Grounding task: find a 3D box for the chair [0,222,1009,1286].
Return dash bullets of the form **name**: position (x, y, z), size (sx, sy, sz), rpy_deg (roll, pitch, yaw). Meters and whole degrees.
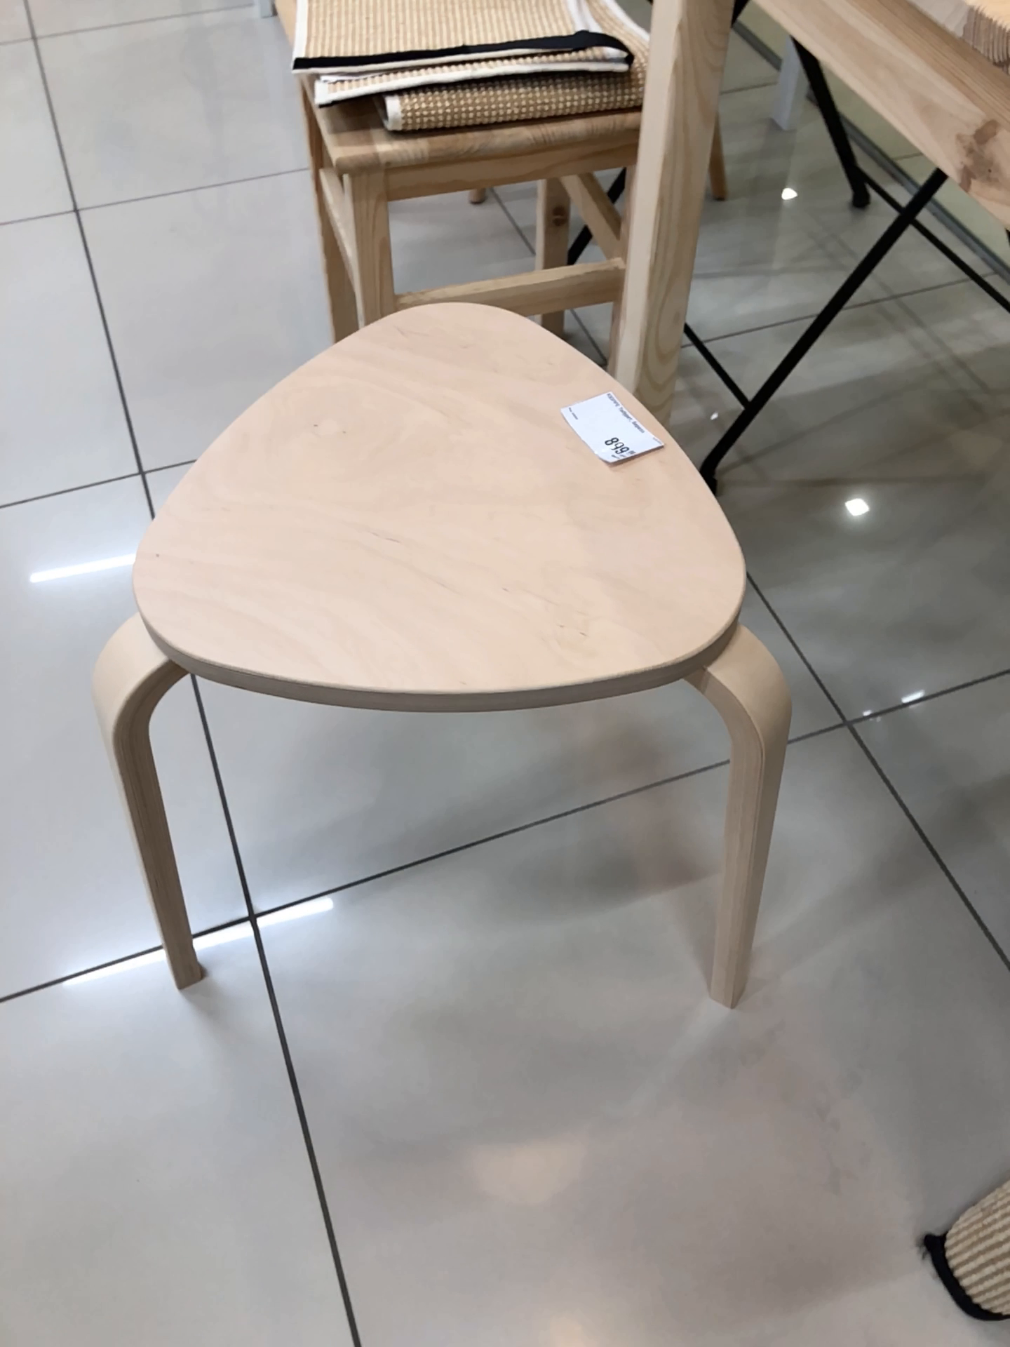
- **chair**: position (0.020, 0.056, 0.833), size (0.431, 0.467, 0.492), rpy_deg (27, 57, 19)
